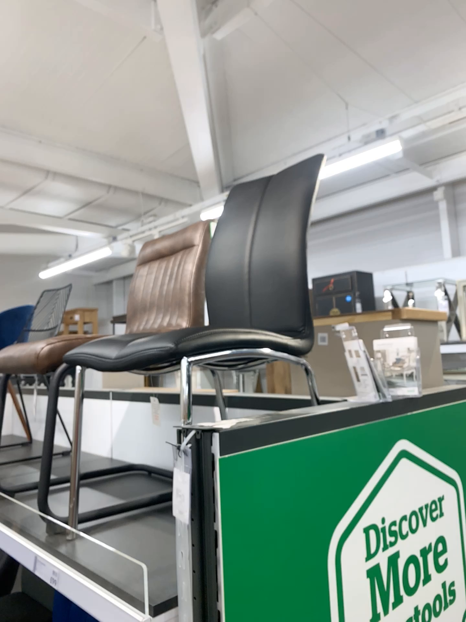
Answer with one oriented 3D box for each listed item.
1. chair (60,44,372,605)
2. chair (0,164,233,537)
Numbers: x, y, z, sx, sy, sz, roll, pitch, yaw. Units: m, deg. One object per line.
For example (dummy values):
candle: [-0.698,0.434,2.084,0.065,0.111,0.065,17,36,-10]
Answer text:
chair: [-0.047,0.024,1.223,0.583,0.996,0.473,5,-10,-44]
chair: [-0.418,0.113,1.546,0.583,0.886,0.553,4,-9,-41]
